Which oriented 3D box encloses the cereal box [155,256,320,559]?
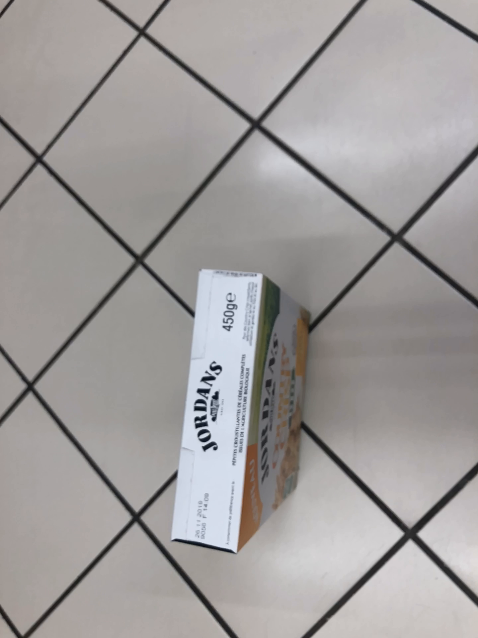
[{"bbox_3d":[0.014,0.066,0.451,0.060,0.210,0.190,4,84,18],"label":"cereal box"}]
